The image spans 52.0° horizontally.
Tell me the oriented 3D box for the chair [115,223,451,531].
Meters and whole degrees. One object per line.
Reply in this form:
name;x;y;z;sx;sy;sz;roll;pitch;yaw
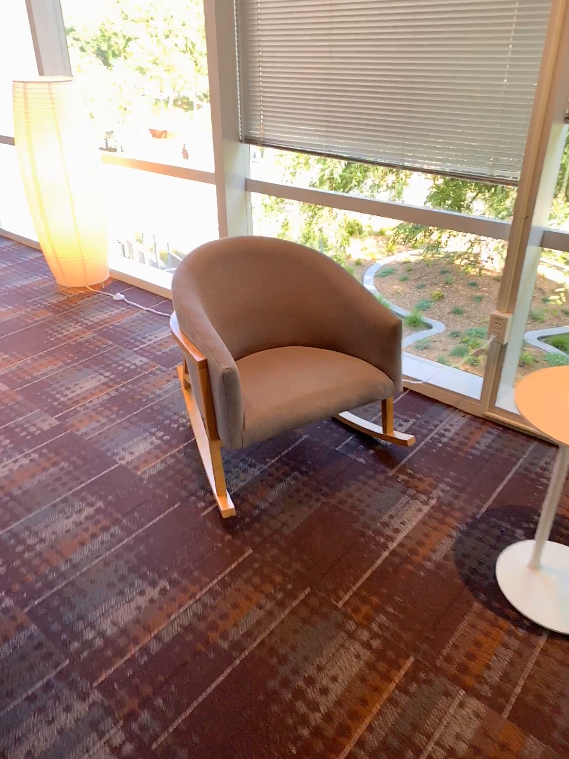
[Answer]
chair;-0.049;-0.105;2.234;0.851;0.656;0.915;-16;33;-26
